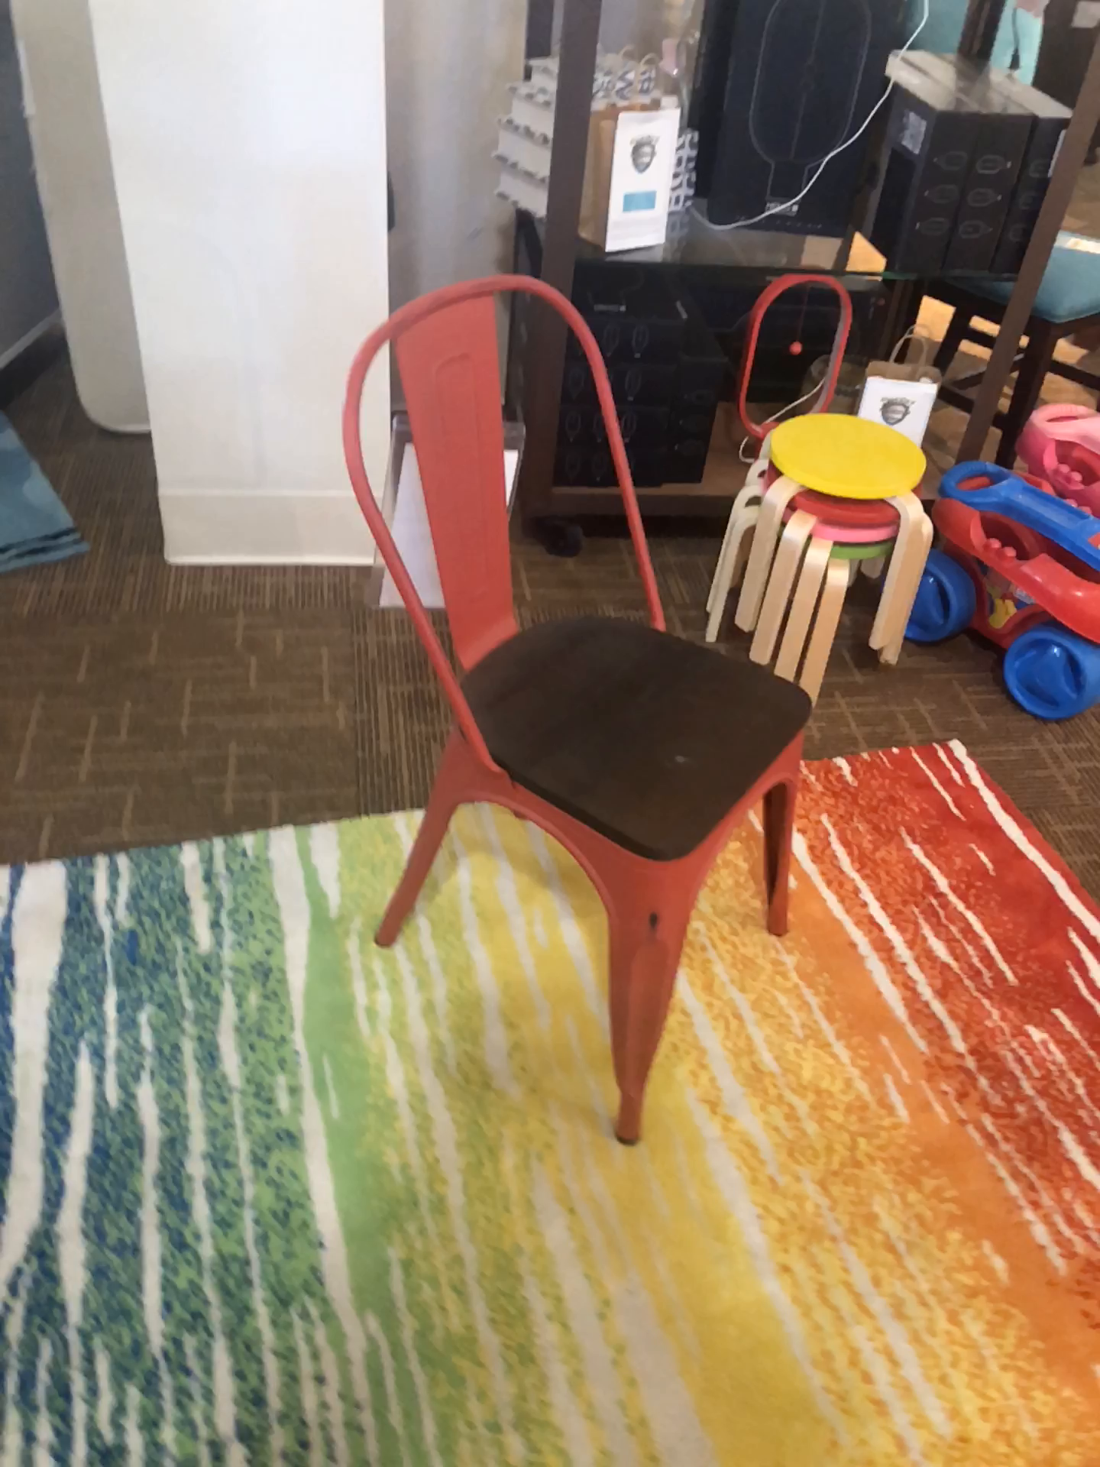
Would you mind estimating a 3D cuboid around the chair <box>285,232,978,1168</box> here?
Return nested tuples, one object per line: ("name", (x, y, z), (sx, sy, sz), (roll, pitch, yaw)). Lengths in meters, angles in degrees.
("chair", (0.056, -0.030, 1.390), (0.490, 0.856, 0.452), (26, 43, 23))
